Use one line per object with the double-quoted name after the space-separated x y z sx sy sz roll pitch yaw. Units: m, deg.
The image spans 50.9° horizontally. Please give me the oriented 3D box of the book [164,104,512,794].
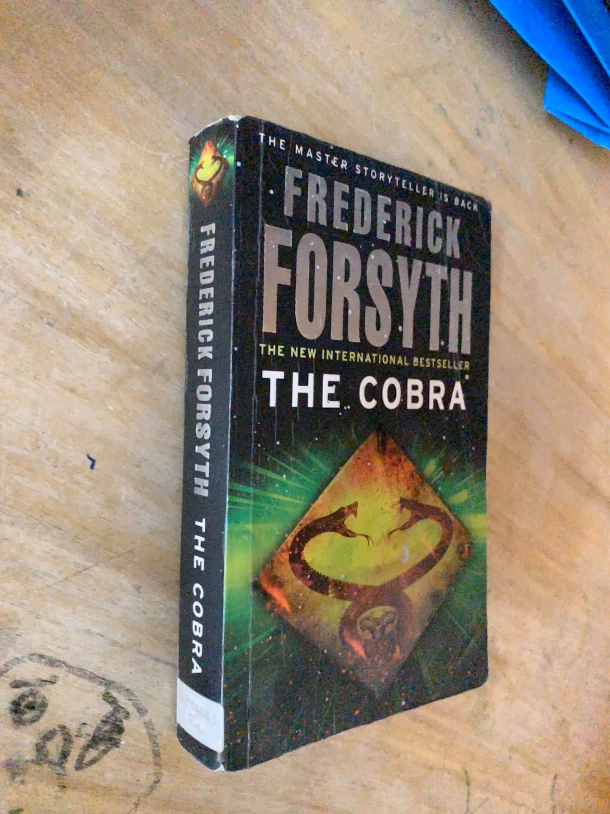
0.014 0.010 0.195 0.100 0.040 0.160 1 91 -37 "book"
